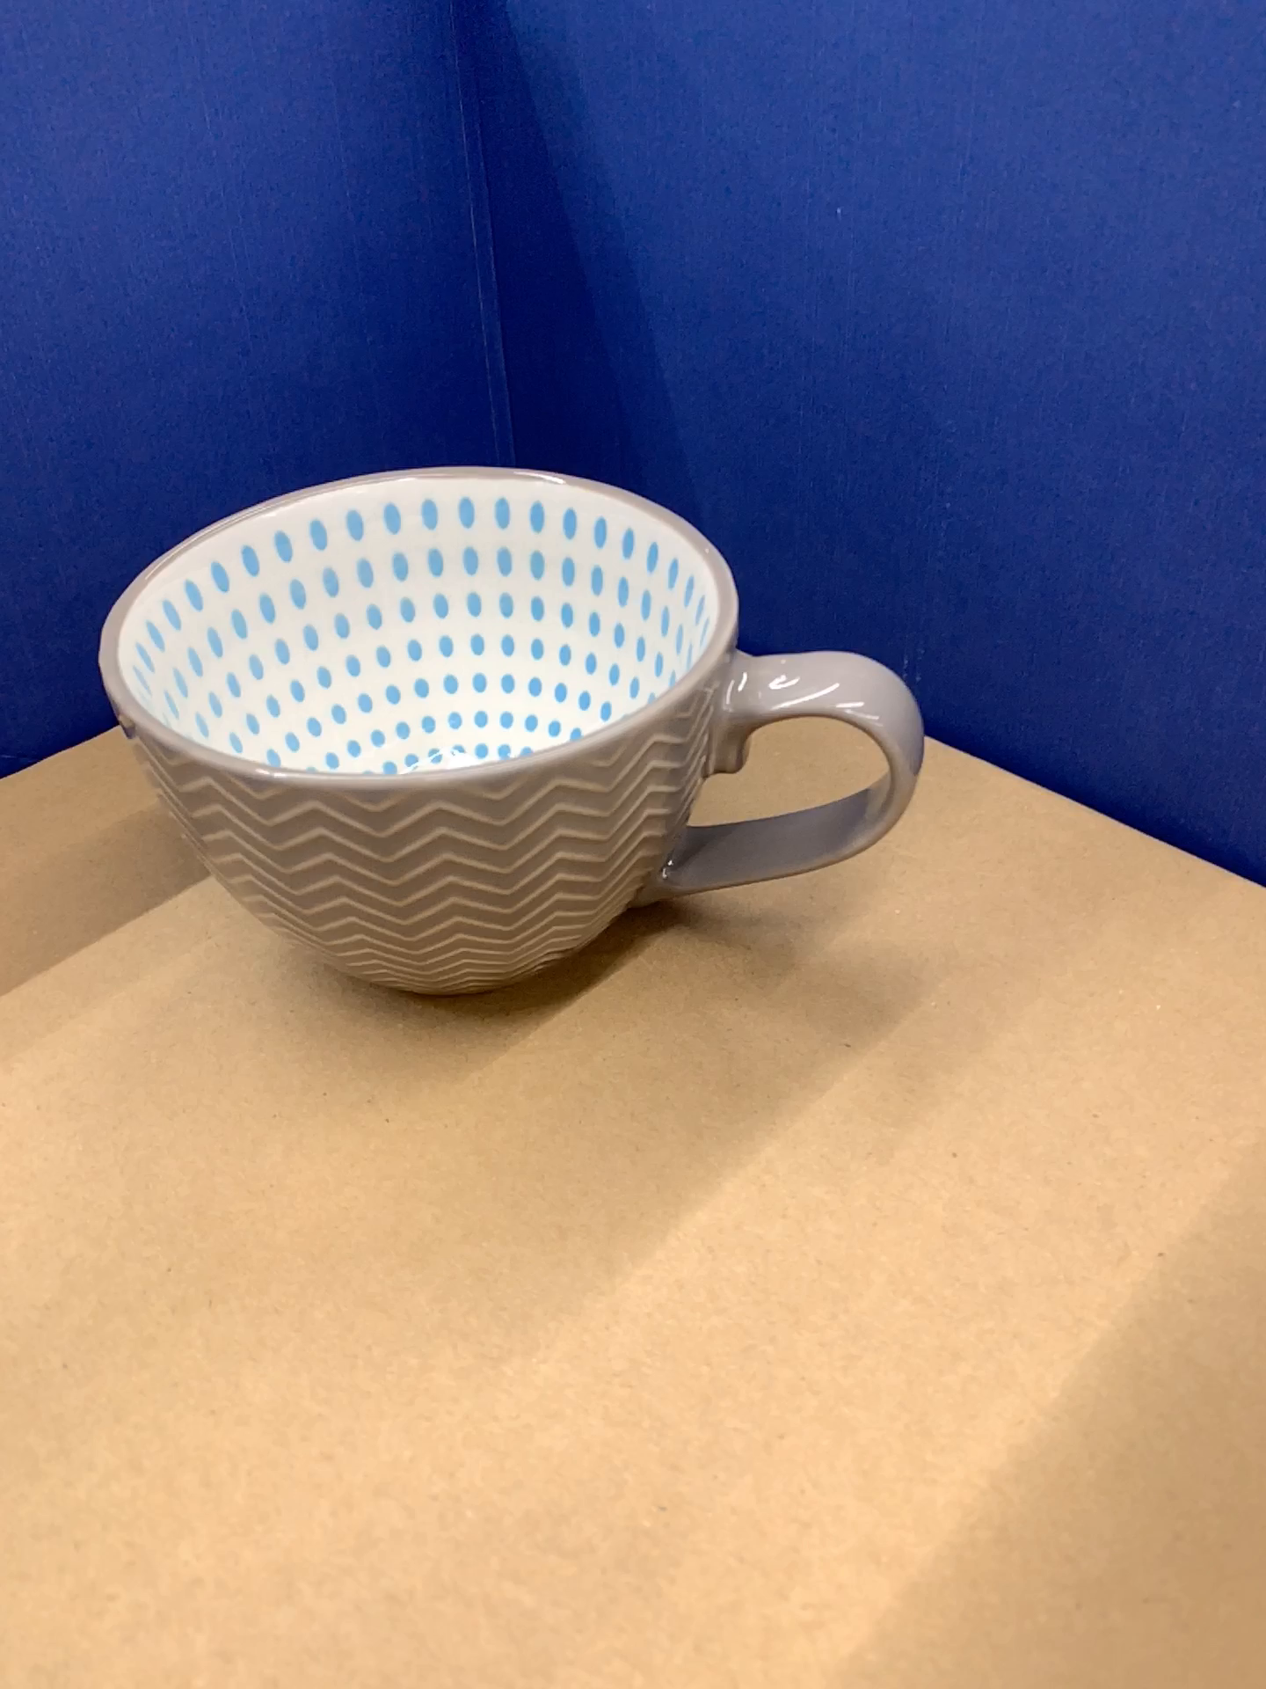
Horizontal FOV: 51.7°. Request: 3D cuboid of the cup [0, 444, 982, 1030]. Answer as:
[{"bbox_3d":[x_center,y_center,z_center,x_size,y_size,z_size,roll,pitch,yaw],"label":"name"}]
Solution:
[{"bbox_3d":[-0.020,-0.028,0.248,0.150,0.058,0.109,2,37,6],"label":"cup"}]
